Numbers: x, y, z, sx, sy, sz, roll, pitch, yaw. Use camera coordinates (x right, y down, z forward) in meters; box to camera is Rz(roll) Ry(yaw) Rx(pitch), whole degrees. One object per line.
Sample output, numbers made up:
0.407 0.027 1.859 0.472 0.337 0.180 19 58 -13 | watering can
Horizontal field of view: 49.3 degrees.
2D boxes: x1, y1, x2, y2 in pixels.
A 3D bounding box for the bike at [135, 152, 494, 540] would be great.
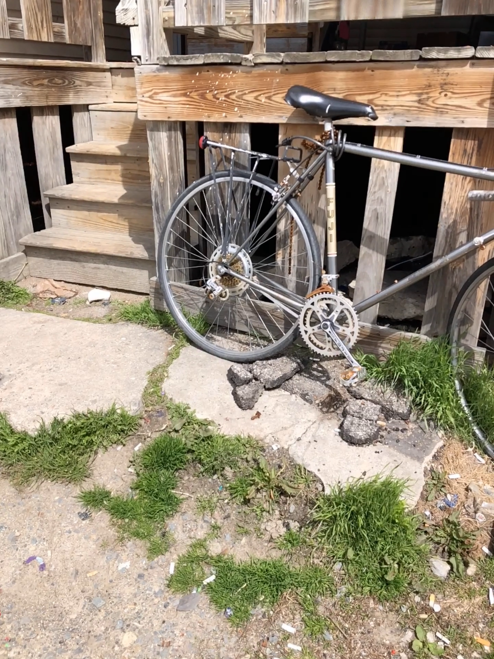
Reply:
0.275 -0.109 1.294 1.202 0.478 0.400 20 29 35 | bike
